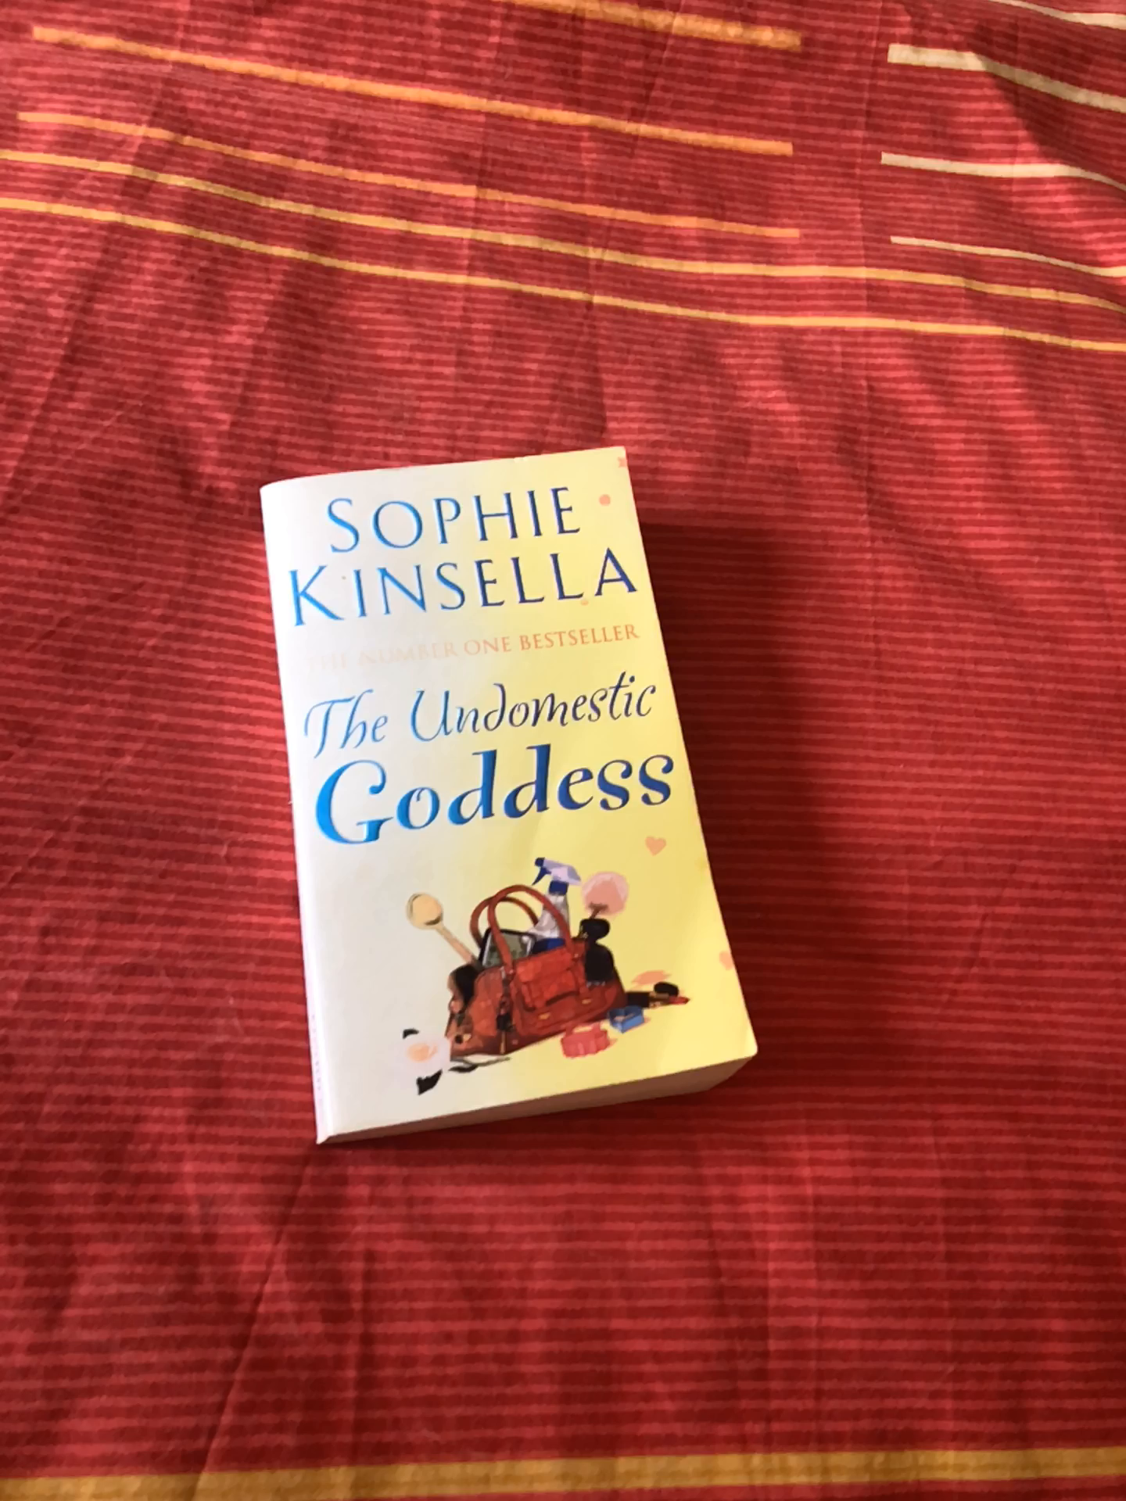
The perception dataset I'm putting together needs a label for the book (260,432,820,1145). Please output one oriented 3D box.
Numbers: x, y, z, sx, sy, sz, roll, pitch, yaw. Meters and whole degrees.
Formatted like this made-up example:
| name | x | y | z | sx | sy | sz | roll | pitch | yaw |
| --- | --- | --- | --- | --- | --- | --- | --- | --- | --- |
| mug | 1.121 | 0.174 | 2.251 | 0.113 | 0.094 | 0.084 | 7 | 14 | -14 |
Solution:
| name | x | y | z | sx | sy | sz | roll | pitch | yaw |
| --- | --- | --- | --- | --- | --- | --- | --- | --- | --- |
| book | -0.013 | 0.004 | 0.340 | 0.120 | 0.040 | 0.180 | -6 | 71 | -12 |
